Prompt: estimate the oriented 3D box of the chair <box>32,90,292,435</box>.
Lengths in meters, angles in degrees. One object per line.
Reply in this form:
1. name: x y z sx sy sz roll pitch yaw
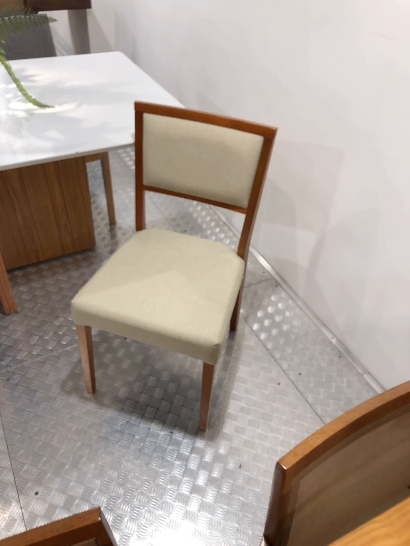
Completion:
1. chair: -0.098 -0.028 1.558 0.520 0.893 0.625 15 43 11
